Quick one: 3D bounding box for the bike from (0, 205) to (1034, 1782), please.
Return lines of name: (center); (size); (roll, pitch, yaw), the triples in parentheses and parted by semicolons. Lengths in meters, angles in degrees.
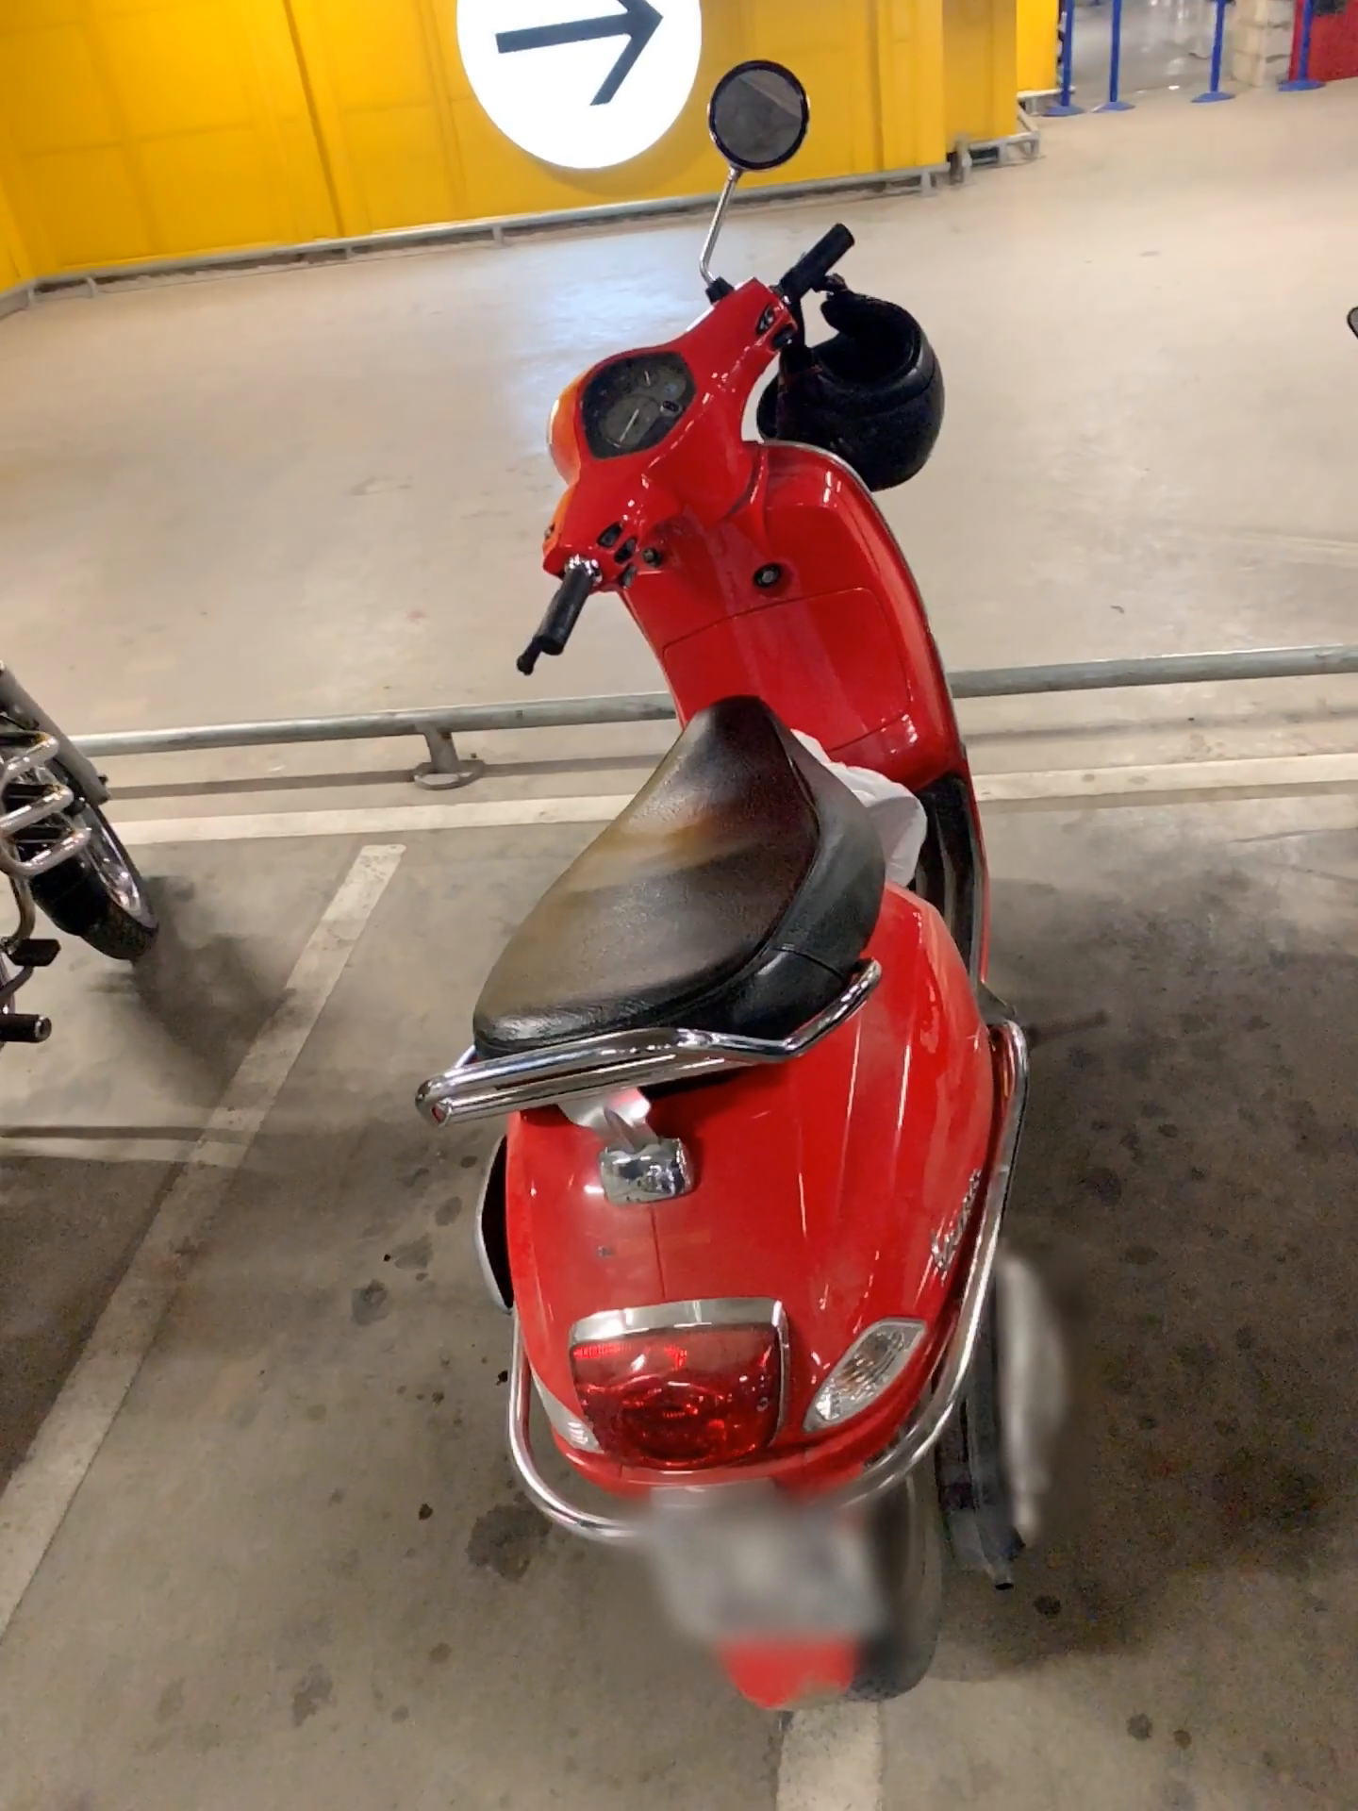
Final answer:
bike: (-0.043, -0.082, 1.768); (0.632, 1.201, 1.688); (-5, 34, 5)
